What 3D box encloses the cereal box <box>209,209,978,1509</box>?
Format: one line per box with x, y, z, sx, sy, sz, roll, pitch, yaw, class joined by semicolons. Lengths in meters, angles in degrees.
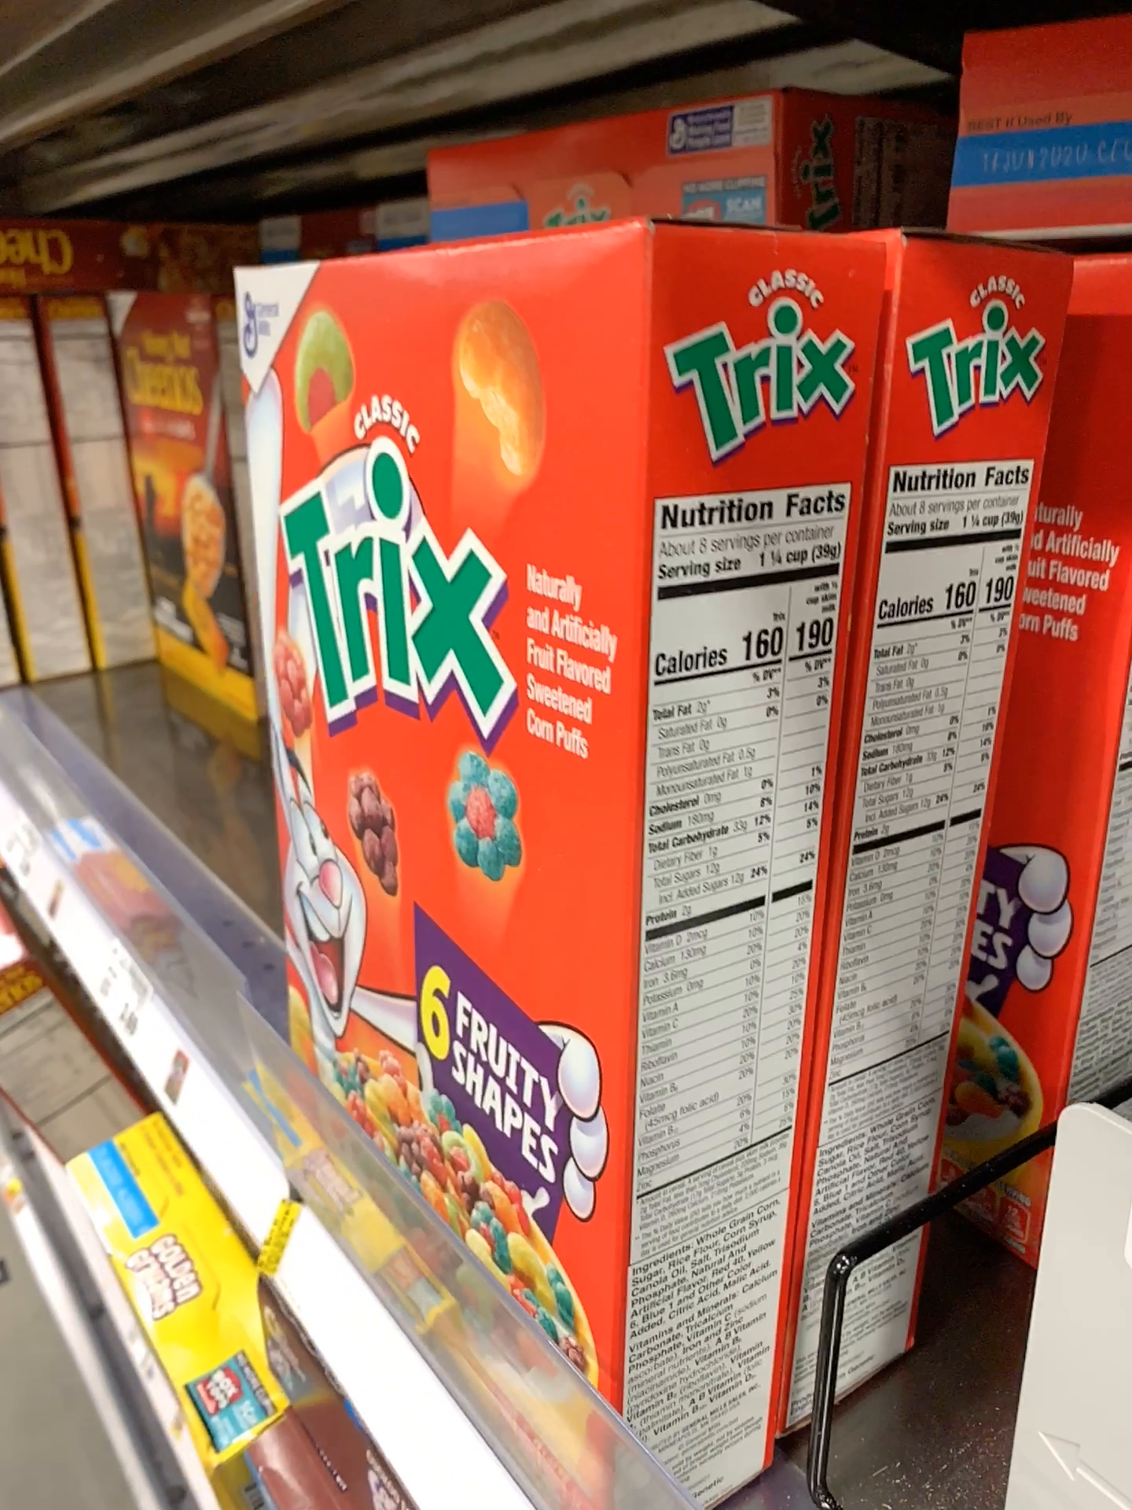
-0.013;0.025;0.305;0.060;0.289;0.201;-14;24;-32;cereal box
